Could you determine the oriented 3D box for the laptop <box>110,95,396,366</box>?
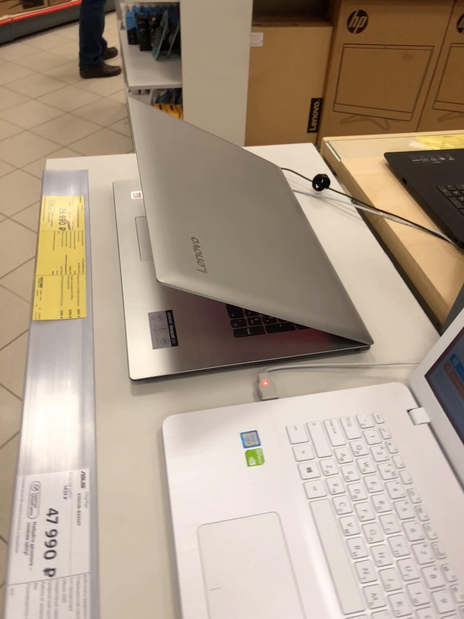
[{"bbox_3d":[-0.009,-0.137,0.680,0.276,0.129,0.400,-7,44,-9],"label":"laptop"}]
